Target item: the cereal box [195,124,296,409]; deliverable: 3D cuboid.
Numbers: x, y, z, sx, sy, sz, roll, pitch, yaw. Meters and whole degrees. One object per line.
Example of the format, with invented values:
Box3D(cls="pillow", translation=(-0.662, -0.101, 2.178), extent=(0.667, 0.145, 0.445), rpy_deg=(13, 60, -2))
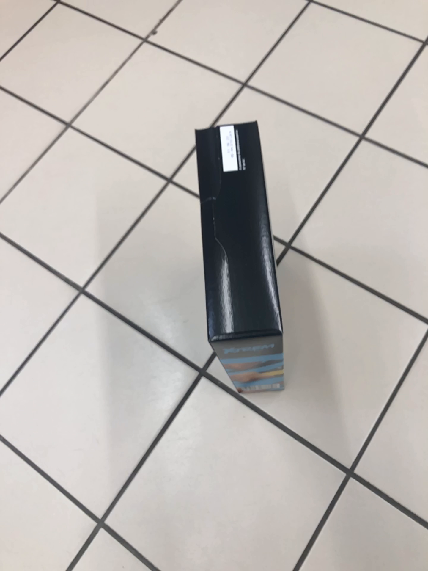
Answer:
Box3D(cls="cereal box", translation=(0.035, 0.006, 0.489), extent=(0.060, 0.259, 0.201), rpy_deg=(-6, 68, 5))
